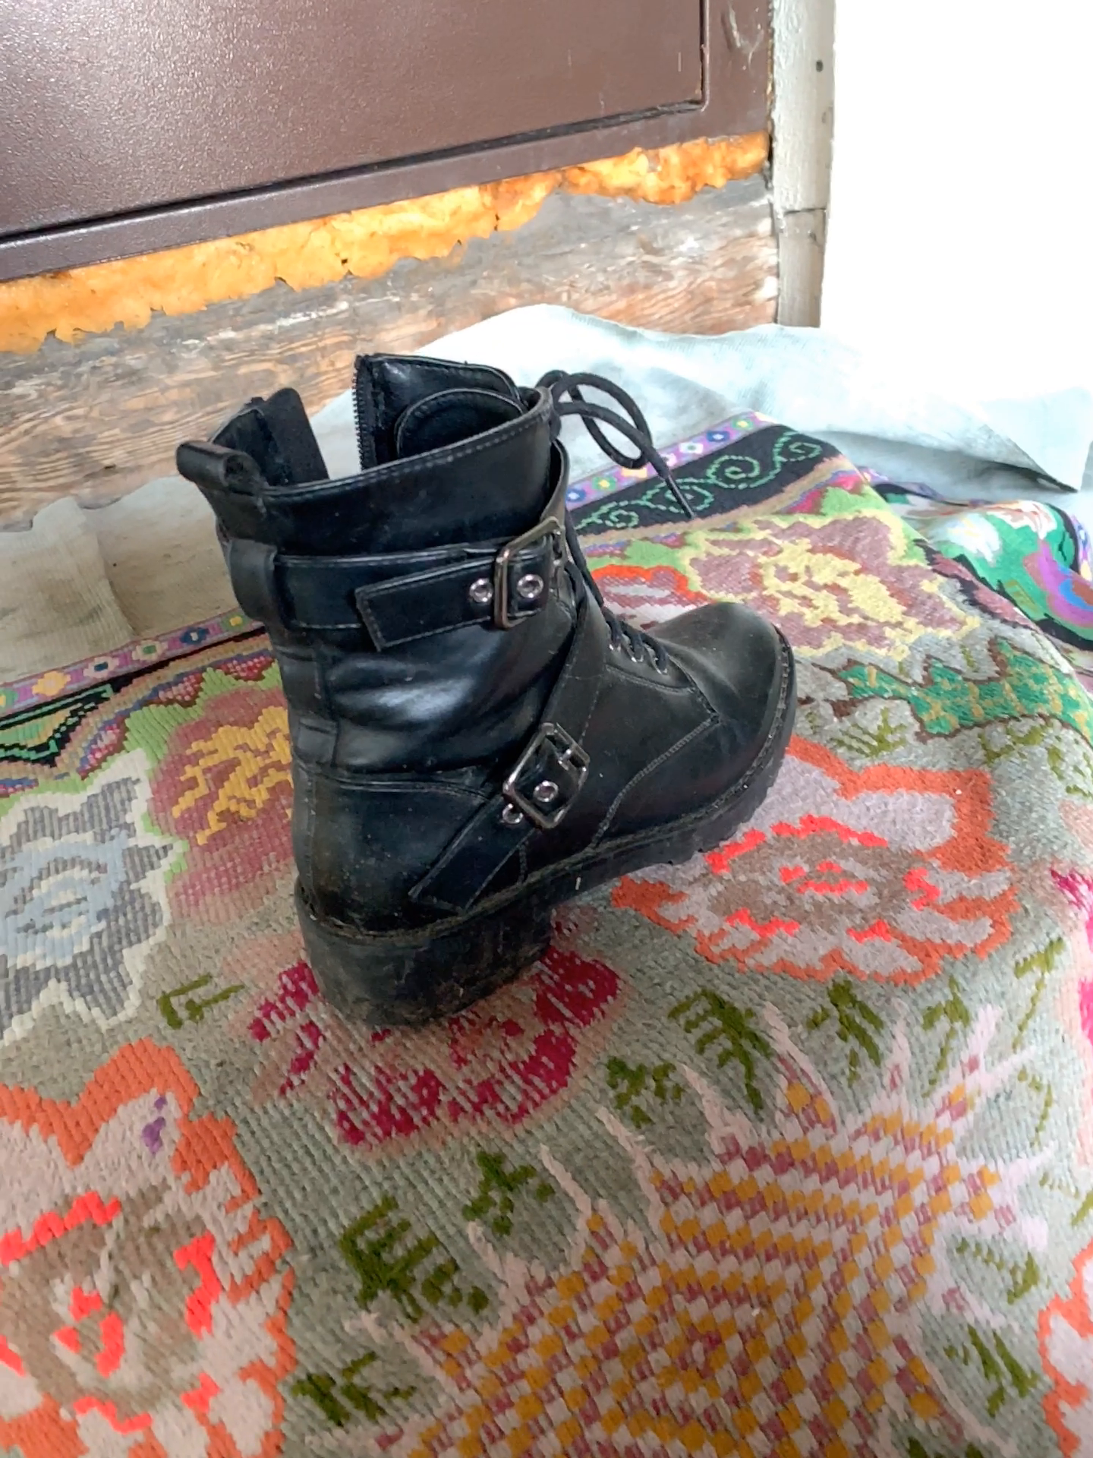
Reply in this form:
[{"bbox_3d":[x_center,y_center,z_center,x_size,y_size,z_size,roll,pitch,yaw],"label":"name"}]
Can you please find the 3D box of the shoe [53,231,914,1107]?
[{"bbox_3d":[0.002,-0.033,0.372,0.241,0.188,0.091,-30,42,-29],"label":"shoe"}]
